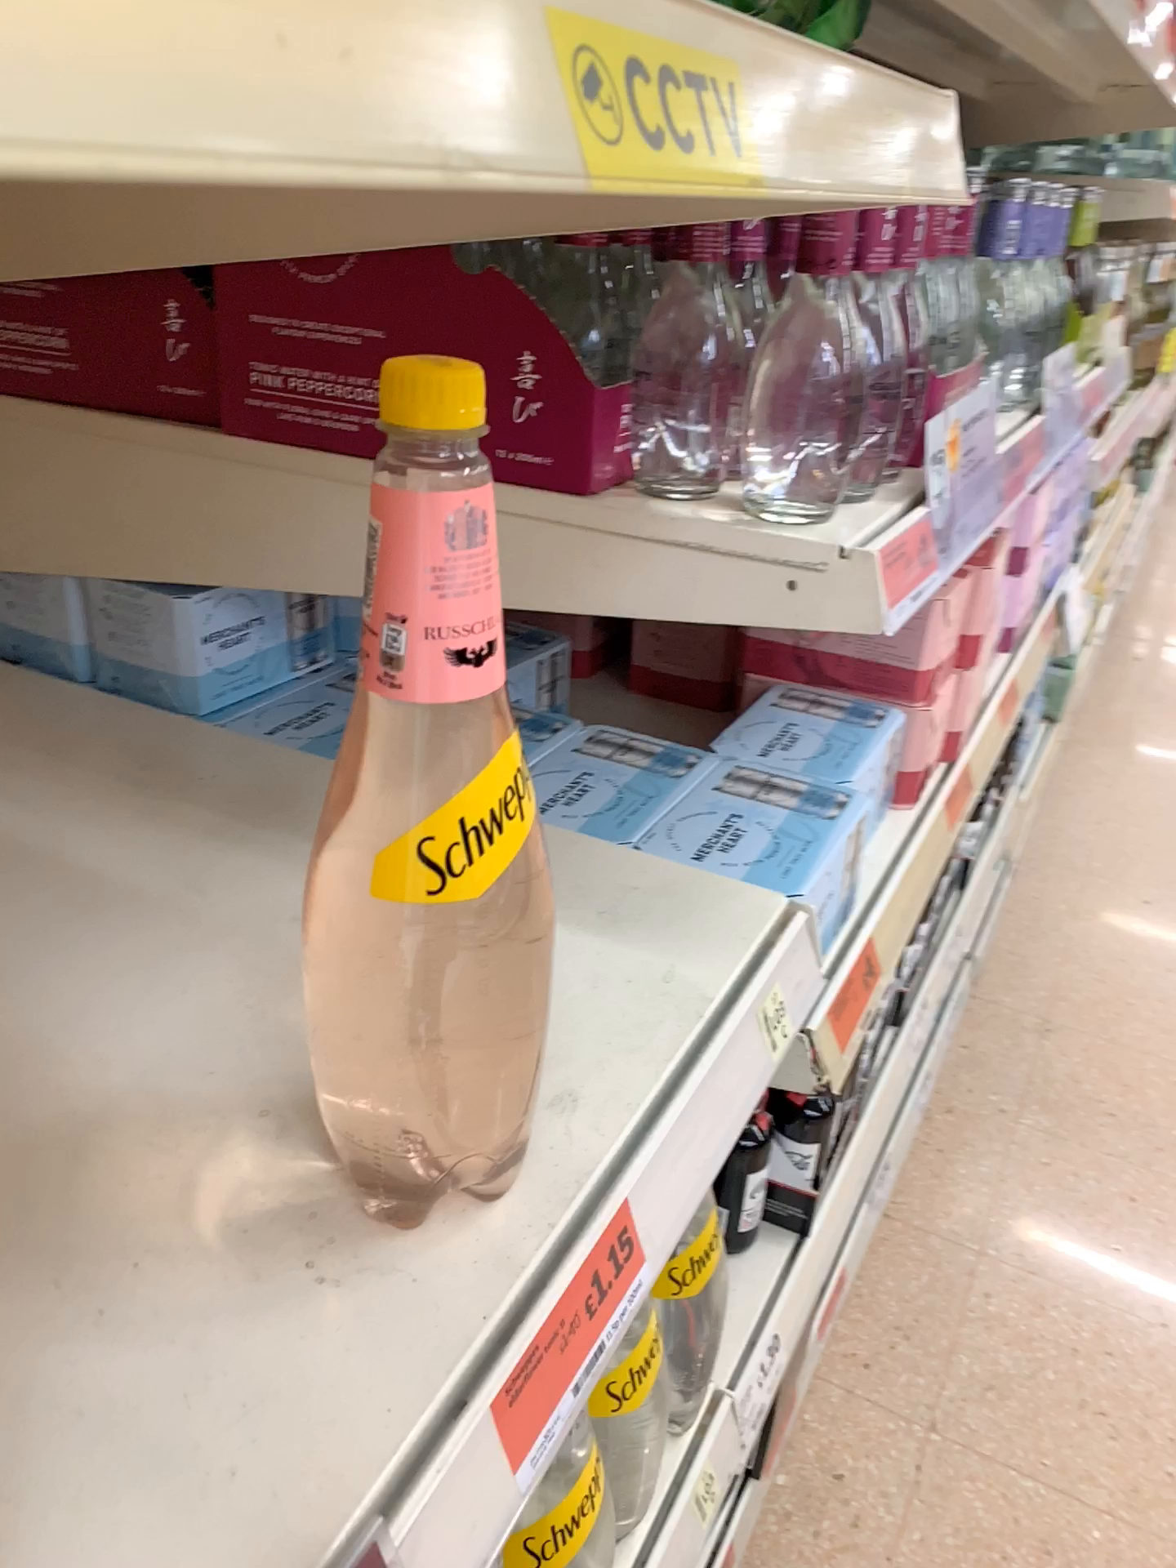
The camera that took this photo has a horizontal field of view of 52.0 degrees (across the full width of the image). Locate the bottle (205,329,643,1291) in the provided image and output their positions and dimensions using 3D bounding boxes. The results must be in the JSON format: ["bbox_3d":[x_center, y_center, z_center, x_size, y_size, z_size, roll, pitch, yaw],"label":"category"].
[{"bbox_3d":[-0.054,0.013,0.407,0.090,0.299,0.085,3,26,-2],"label":"bottle"}]
